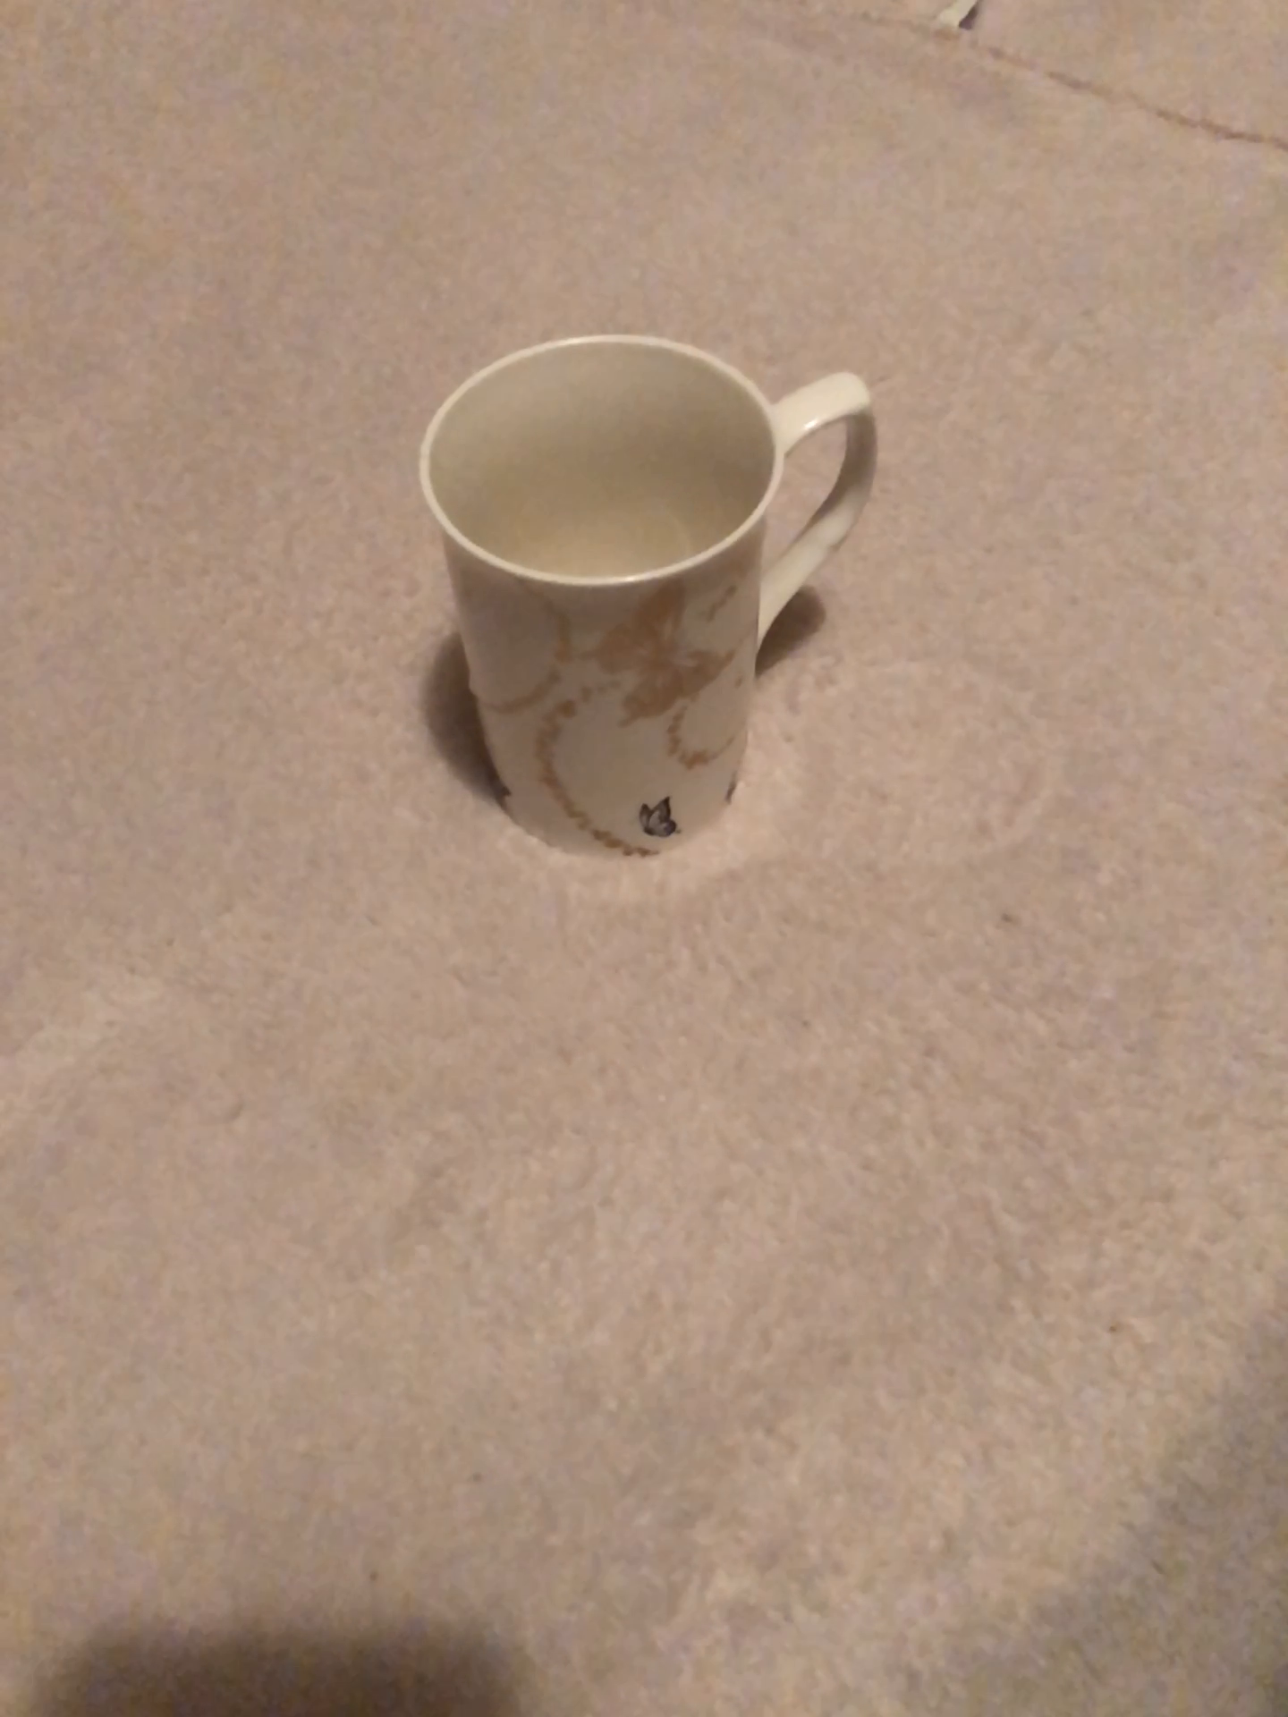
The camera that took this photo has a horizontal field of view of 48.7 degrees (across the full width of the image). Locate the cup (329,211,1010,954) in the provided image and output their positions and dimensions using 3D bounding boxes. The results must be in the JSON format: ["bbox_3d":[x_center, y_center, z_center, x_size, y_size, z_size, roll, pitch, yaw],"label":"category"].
[{"bbox_3d":[0.007,-0.060,0.326,0.112,0.110,0.073,-32,62,-17],"label":"cup"}]
